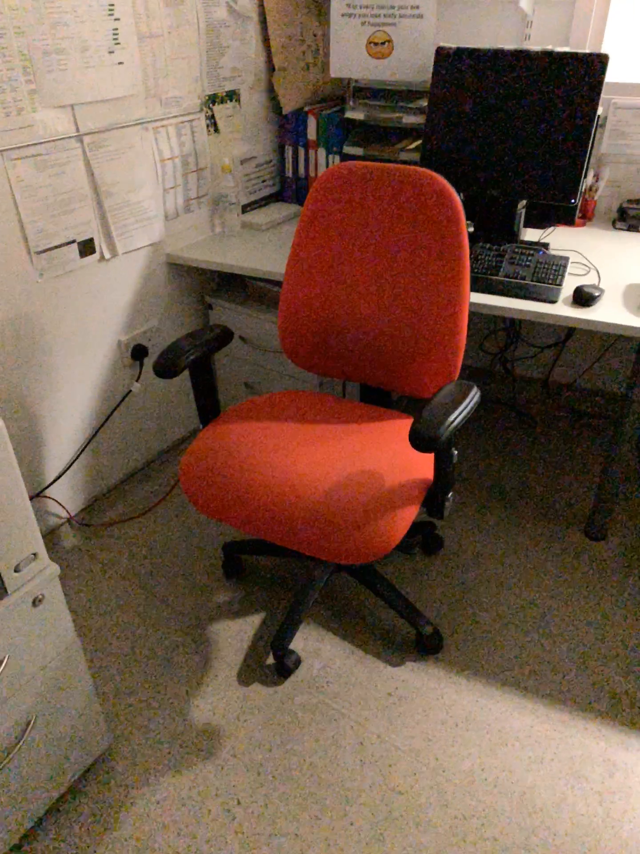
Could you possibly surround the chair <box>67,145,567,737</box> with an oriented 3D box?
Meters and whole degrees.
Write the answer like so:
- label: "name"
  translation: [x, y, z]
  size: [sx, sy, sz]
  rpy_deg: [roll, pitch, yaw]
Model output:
- label: "chair"
  translation: [0.056, -0.017, 1.378]
  size: [0.671, 0.921, 0.656]
  rpy_deg: [12, 36, 18]
